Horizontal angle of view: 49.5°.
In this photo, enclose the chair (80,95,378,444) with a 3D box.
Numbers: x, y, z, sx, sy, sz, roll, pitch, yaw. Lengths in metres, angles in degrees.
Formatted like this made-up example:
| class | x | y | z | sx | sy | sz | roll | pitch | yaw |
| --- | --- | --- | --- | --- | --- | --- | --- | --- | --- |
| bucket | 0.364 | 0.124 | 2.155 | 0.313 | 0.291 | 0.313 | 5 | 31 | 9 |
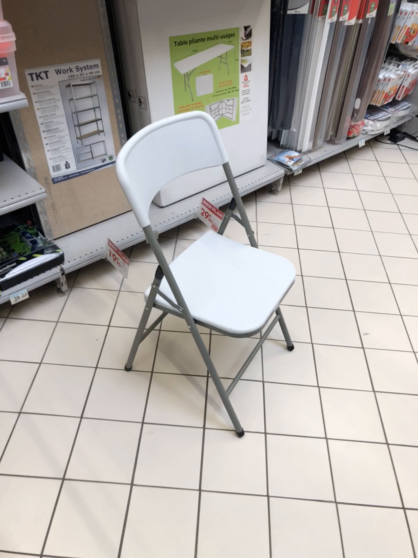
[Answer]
| class | x | y | z | sx | sy | sz | roll | pitch | yaw |
| --- | --- | --- | --- | --- | --- | --- | --- | --- | --- |
| chair | 0.054 | -0.040 | 1.385 | 0.560 | 0.745 | 0.544 | 24 | 45 | 20 |
